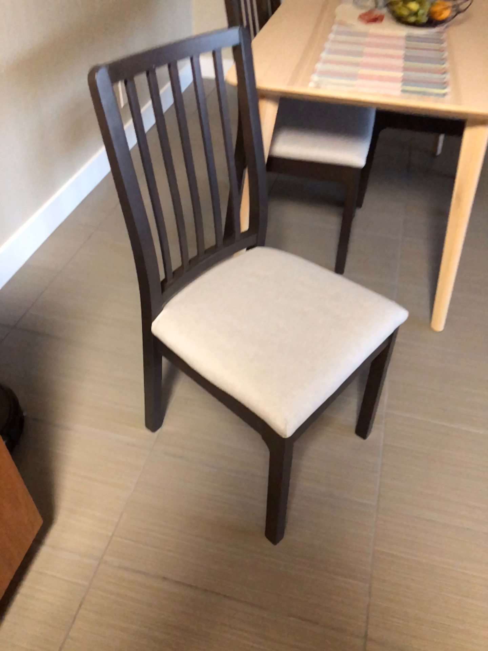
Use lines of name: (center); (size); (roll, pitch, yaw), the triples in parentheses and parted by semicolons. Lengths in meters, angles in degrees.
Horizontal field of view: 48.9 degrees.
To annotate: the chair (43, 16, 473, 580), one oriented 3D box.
chair: (0.010, 0.001, 1.254); (0.511, 1.125, 0.481); (35, 52, 30)
